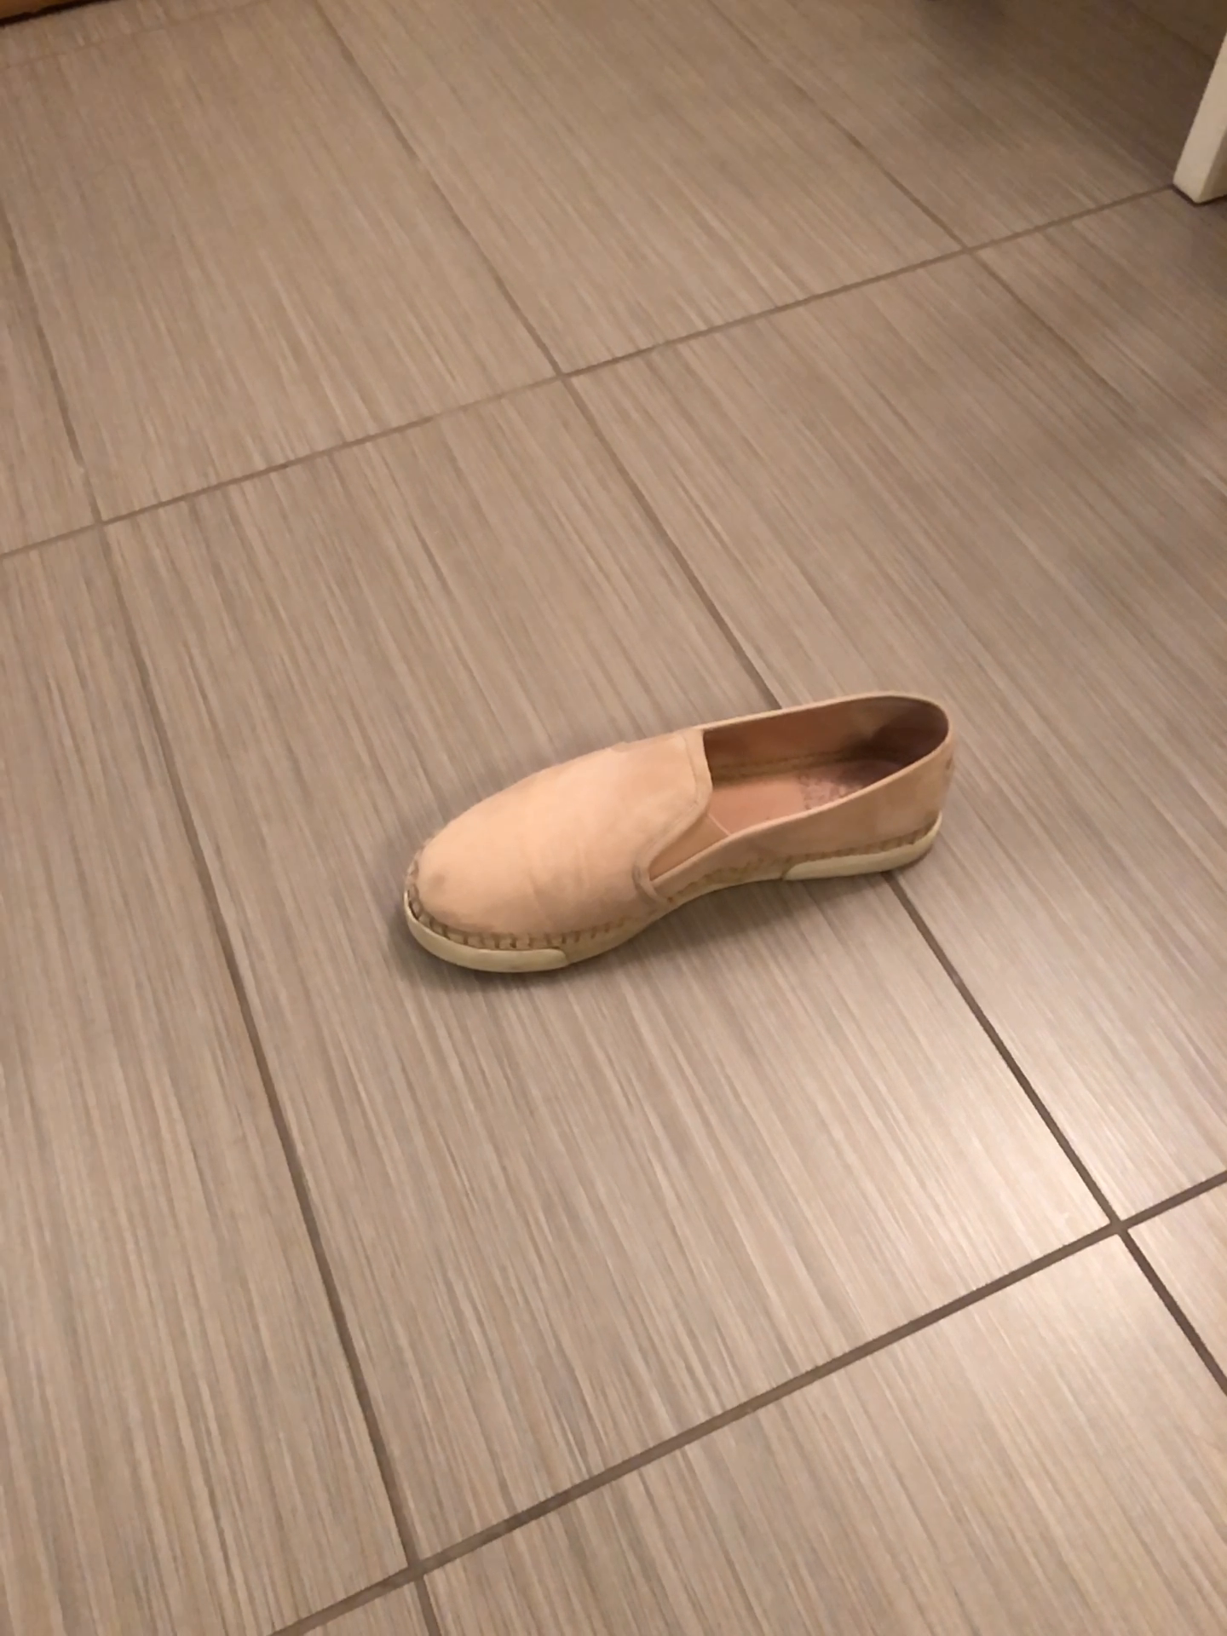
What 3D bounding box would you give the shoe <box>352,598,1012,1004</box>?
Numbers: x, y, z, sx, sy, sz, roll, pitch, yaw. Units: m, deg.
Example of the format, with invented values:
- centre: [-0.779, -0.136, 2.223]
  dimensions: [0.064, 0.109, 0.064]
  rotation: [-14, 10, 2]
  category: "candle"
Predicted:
- centre: [0.027, -0.010, 0.622]
  dimensions: [0.270, 0.070, 0.110]
  rotation: [-13, 55, -6]
  category: "shoe"
